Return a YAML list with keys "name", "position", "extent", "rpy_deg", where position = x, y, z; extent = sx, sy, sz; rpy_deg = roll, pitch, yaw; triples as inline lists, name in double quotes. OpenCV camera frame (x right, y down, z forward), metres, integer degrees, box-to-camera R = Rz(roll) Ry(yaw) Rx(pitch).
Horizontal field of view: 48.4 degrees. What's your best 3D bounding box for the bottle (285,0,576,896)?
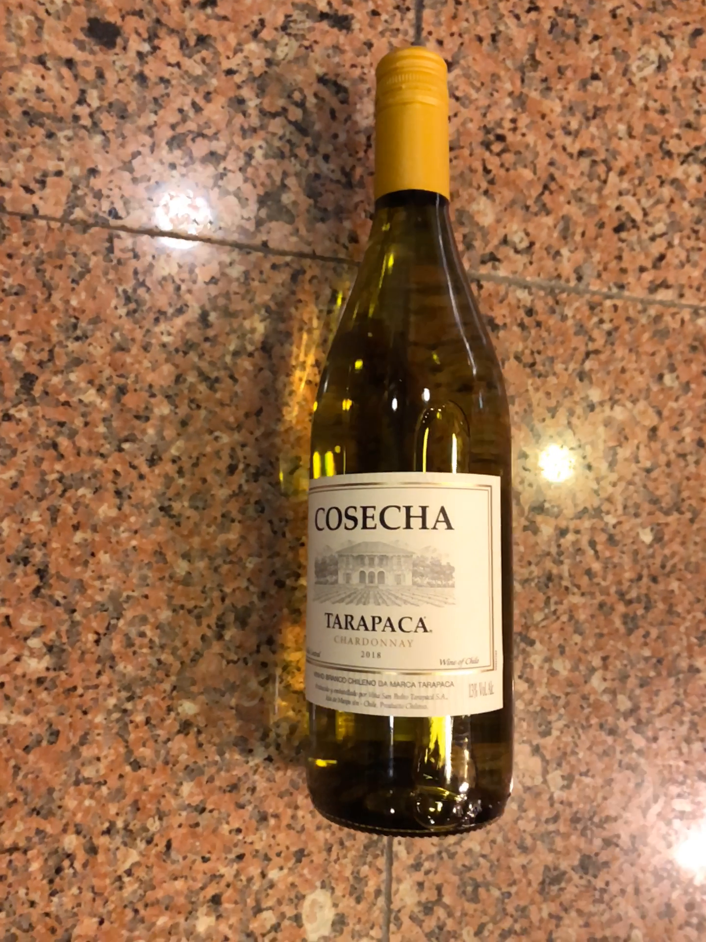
- name: "bottle"
  position: [0.026, -0.029, 0.313]
  extent: [0.090, 0.070, 0.340]
  rpy_deg: [2, 84, -15]
